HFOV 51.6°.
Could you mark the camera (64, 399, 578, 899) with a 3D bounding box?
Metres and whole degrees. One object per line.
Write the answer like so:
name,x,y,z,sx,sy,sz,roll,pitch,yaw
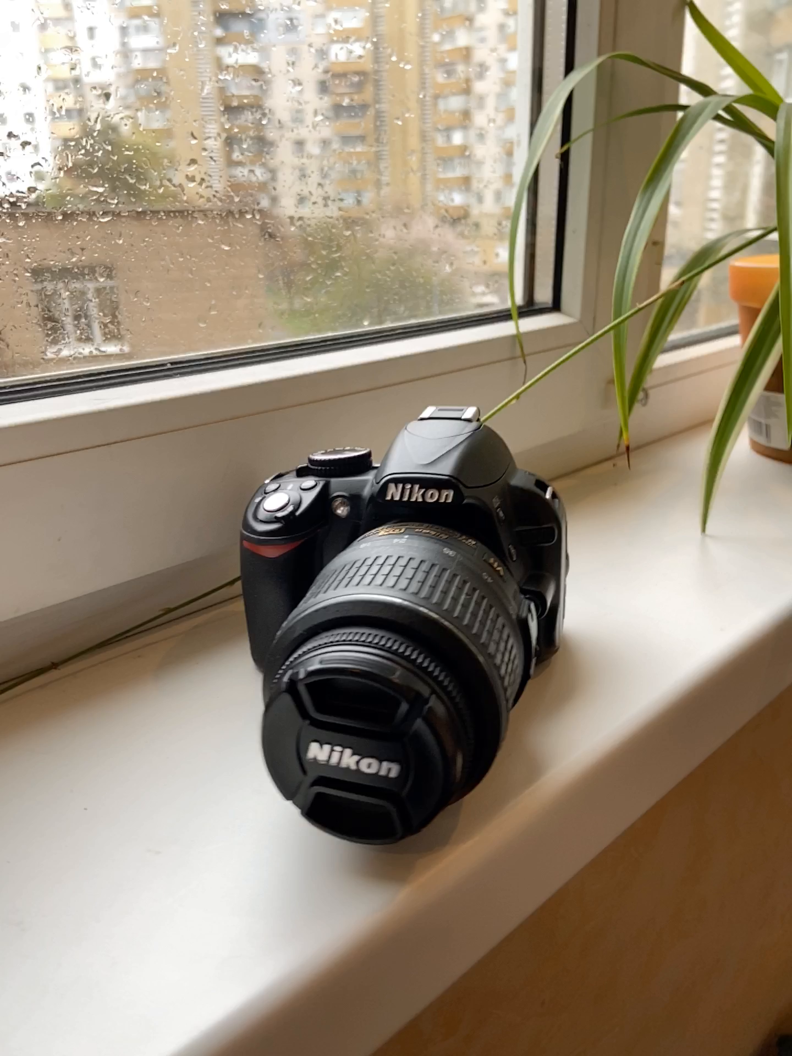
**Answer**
camera,-0.005,0.021,0.282,0.121,0.092,0.159,4,22,14
